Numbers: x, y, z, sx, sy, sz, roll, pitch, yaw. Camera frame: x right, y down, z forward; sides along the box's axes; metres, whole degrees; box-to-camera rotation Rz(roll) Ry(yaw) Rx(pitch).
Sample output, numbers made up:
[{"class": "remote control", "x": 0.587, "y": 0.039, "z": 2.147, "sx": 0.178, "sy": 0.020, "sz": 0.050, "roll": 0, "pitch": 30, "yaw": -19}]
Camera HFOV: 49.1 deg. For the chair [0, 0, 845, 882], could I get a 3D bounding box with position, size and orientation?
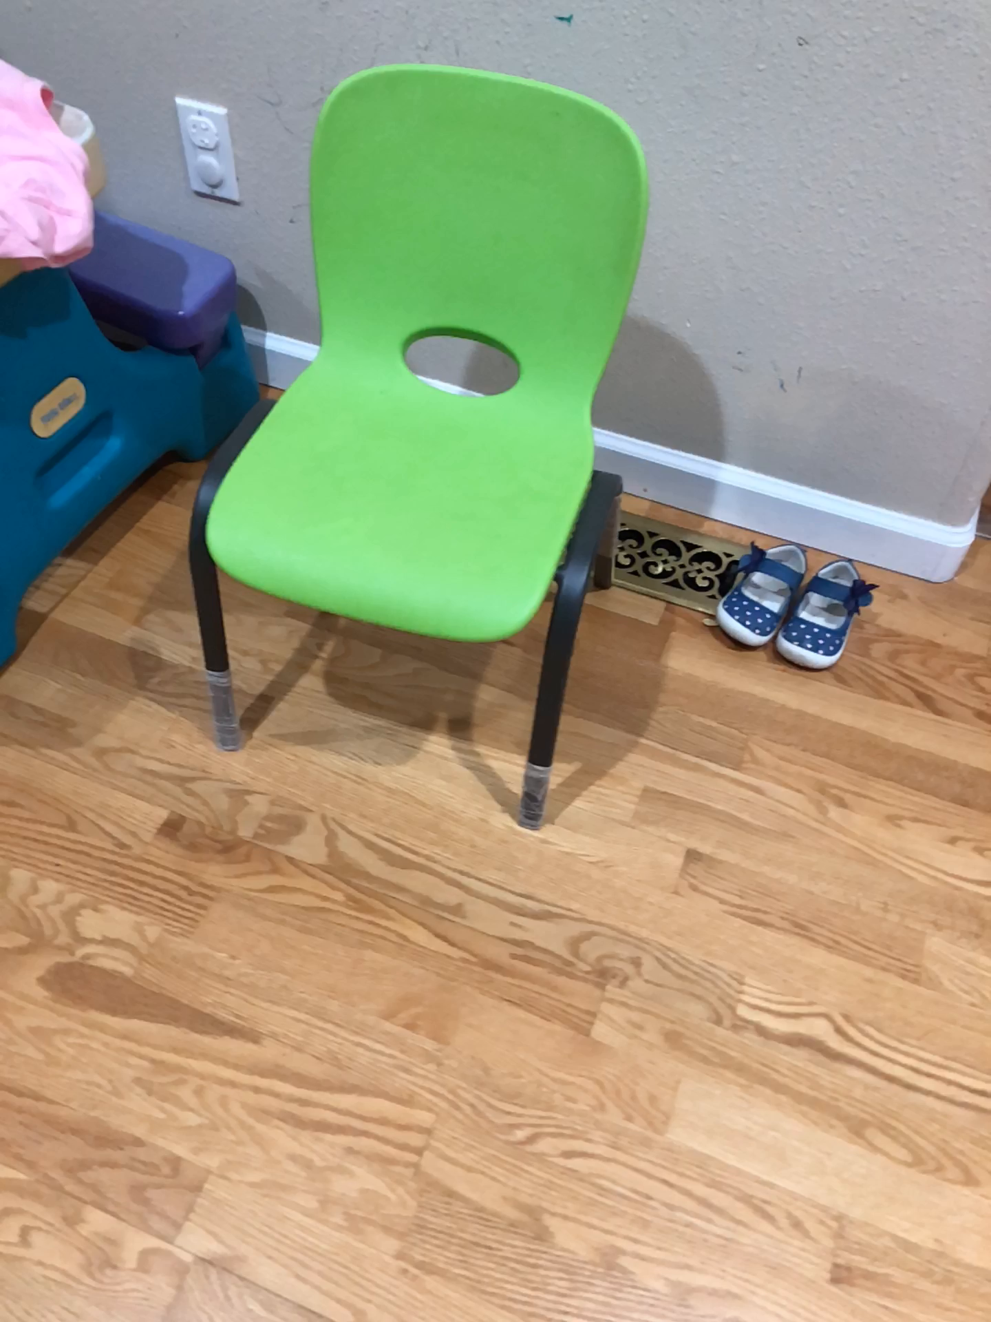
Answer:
[{"class": "chair", "x": -0.030, "y": -0.203, "z": 1.025, "sx": 0.510, "sy": 0.557, "sz": 0.482, "roll": 15, "pitch": 51, "yaw": 9}]
